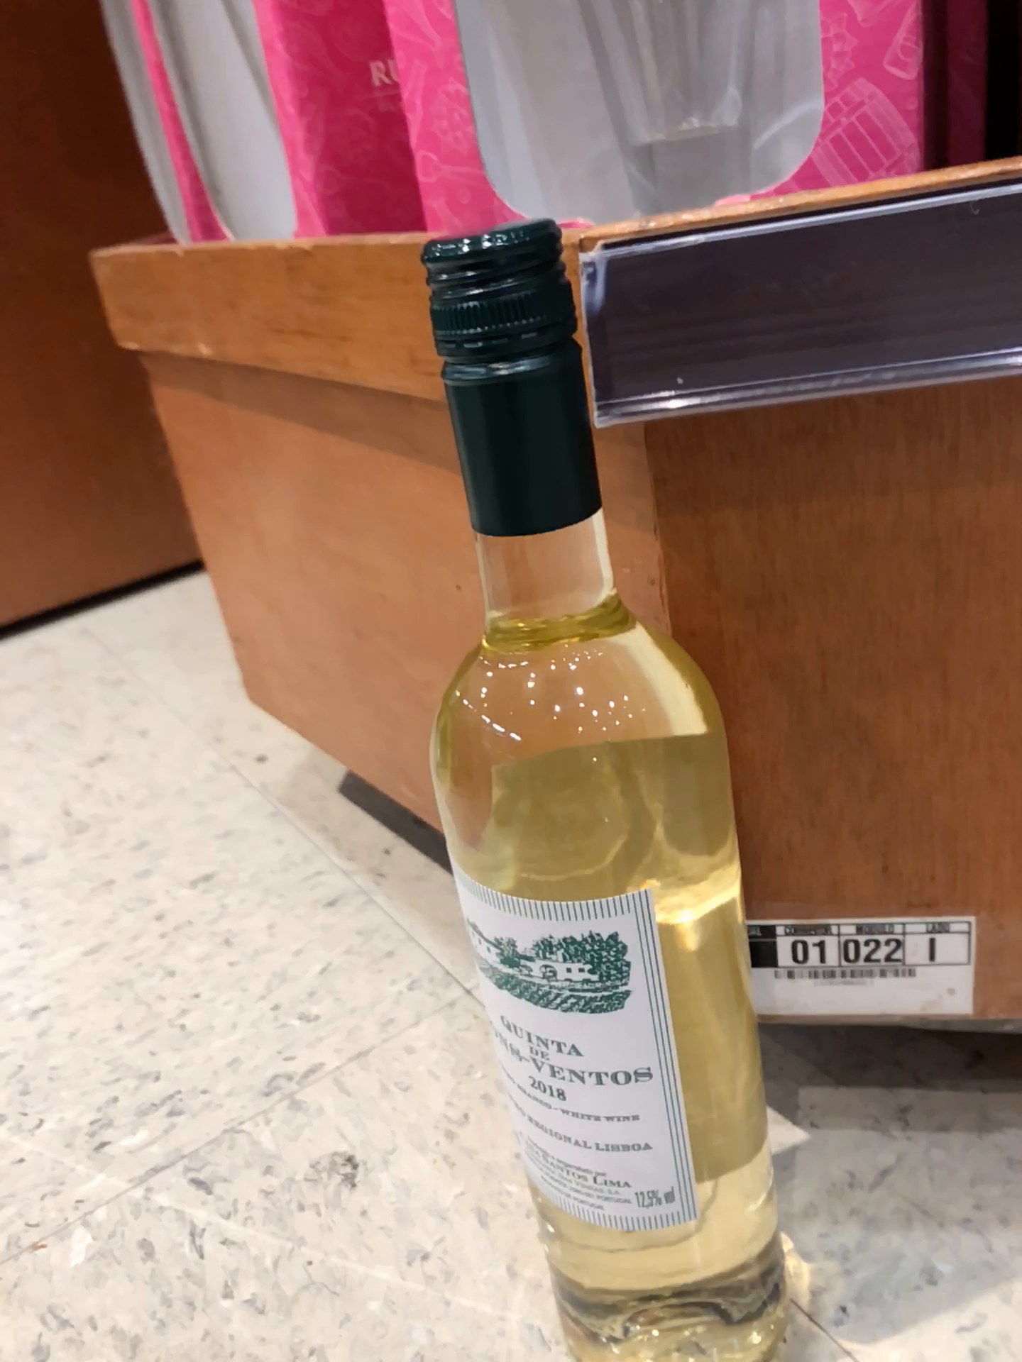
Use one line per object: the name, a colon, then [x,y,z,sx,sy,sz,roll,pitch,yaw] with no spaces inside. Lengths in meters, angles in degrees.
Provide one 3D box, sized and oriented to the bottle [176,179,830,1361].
bottle: [0.018,0.050,0.286,0.080,0.308,0.080,-9,24,4]
